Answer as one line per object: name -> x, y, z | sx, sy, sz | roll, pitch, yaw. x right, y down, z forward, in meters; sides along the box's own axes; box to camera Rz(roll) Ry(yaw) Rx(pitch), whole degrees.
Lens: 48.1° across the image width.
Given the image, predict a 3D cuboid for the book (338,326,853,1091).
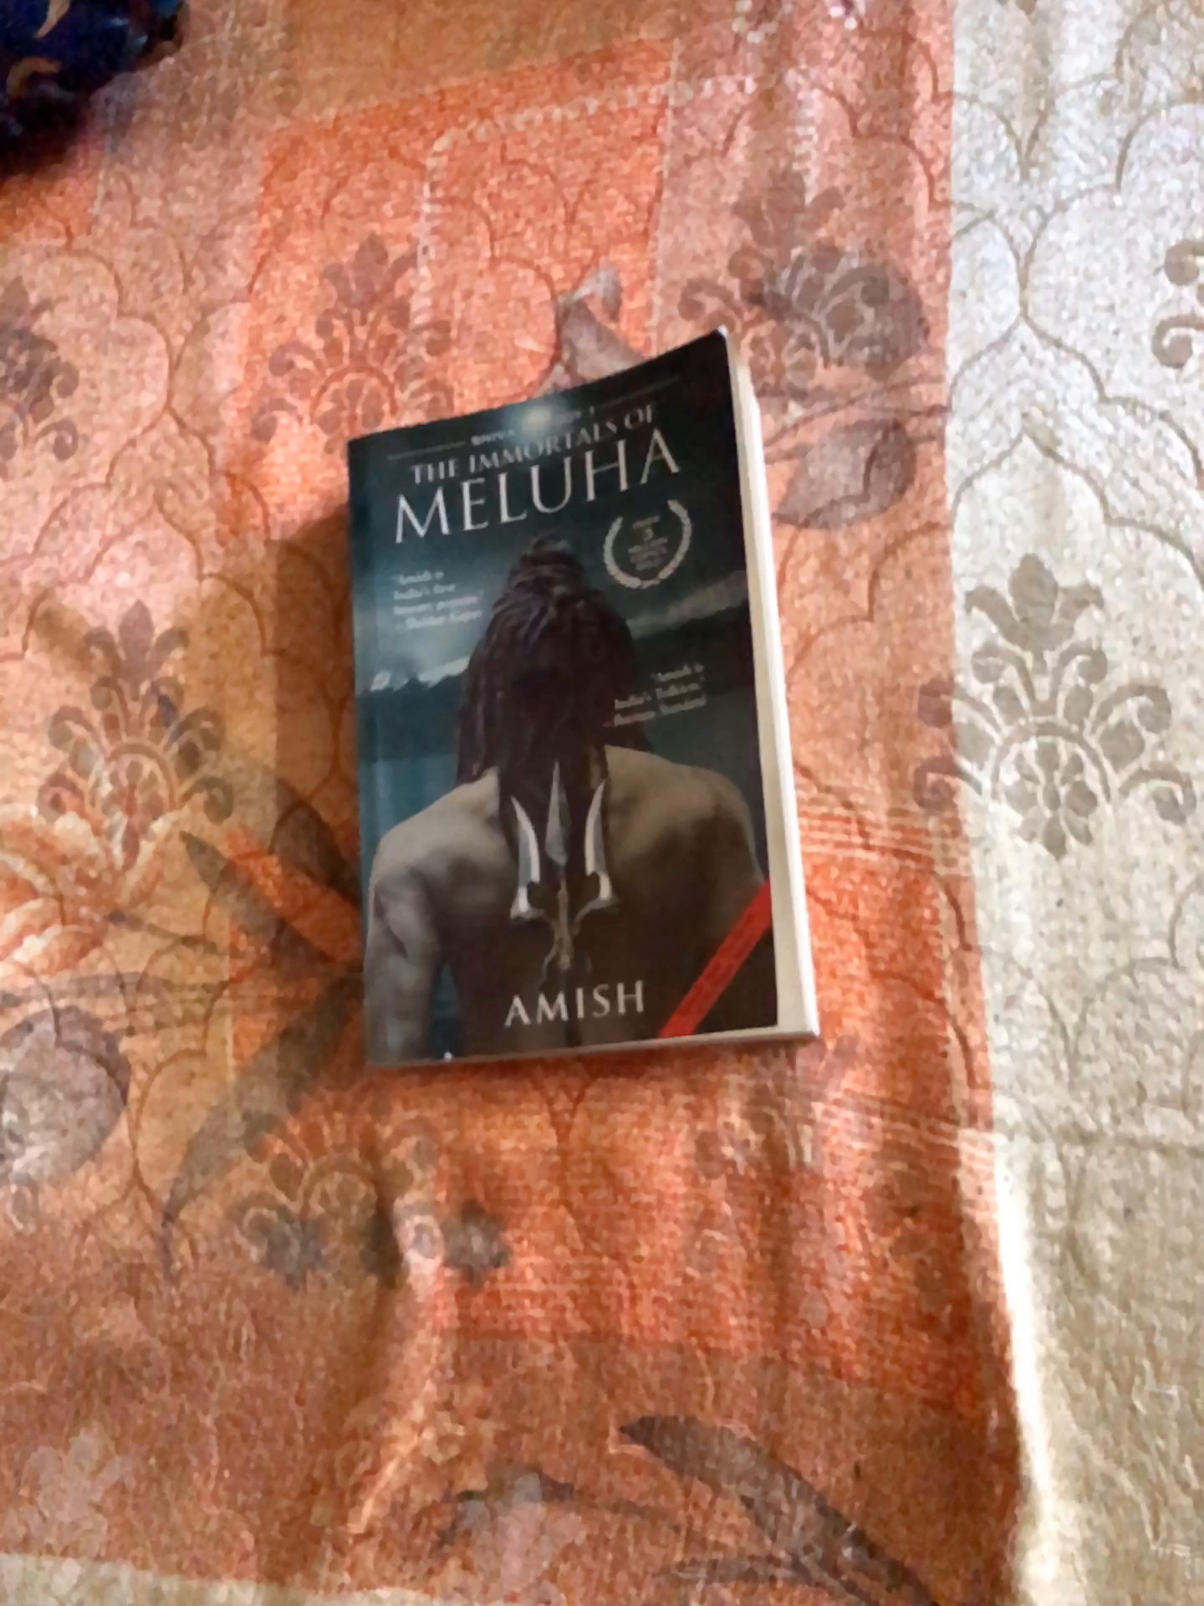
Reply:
book -> -0.003, -0.023, 0.381 | 0.131, 0.040, 0.200 | -5, 76, 16
